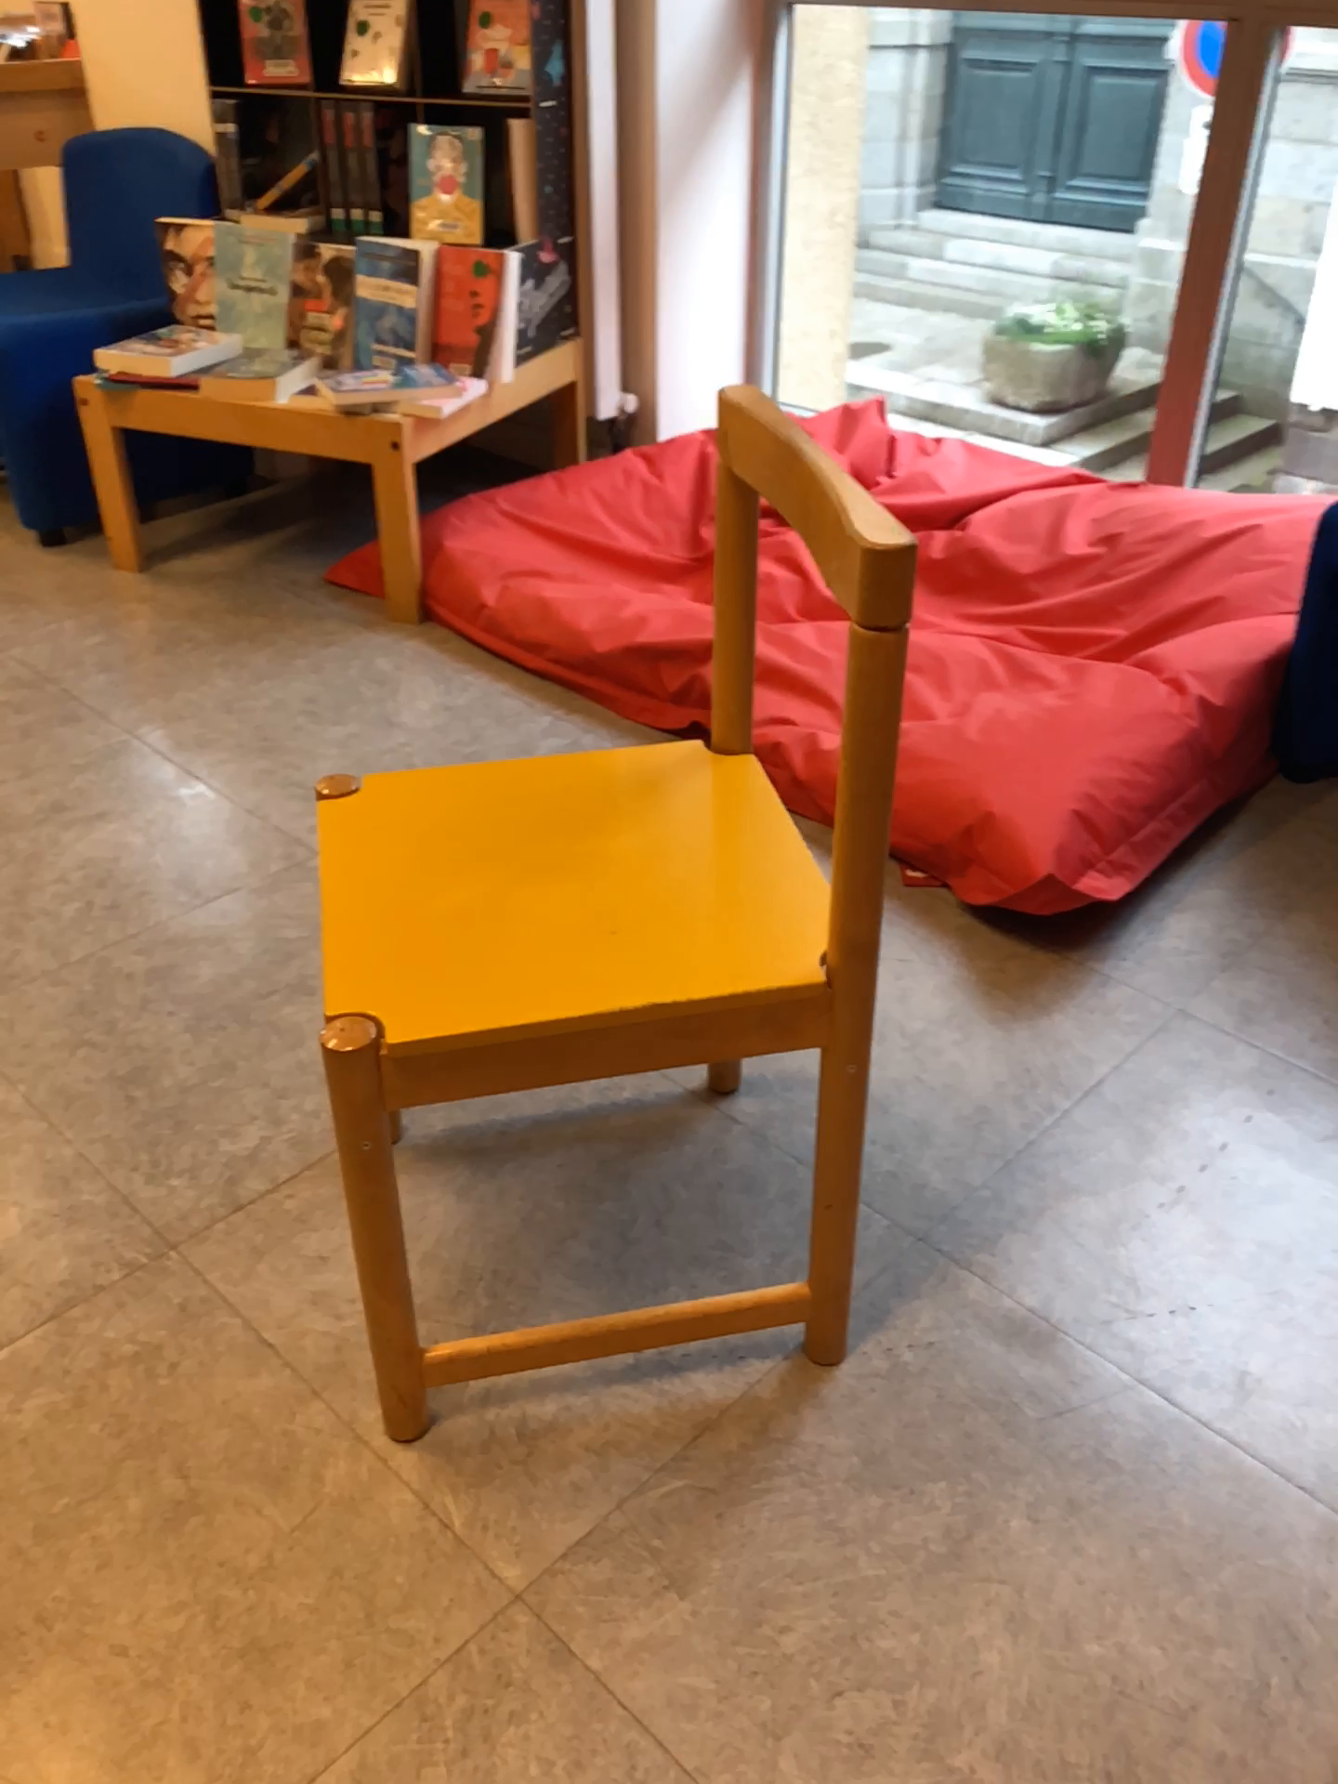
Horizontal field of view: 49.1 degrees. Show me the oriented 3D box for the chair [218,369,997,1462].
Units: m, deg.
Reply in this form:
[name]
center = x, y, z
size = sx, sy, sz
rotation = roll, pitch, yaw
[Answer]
[chair]
center = -0.072, 0.001, 1.141
size = 0.421, 0.666, 0.452
rotation = -7, 33, -11
